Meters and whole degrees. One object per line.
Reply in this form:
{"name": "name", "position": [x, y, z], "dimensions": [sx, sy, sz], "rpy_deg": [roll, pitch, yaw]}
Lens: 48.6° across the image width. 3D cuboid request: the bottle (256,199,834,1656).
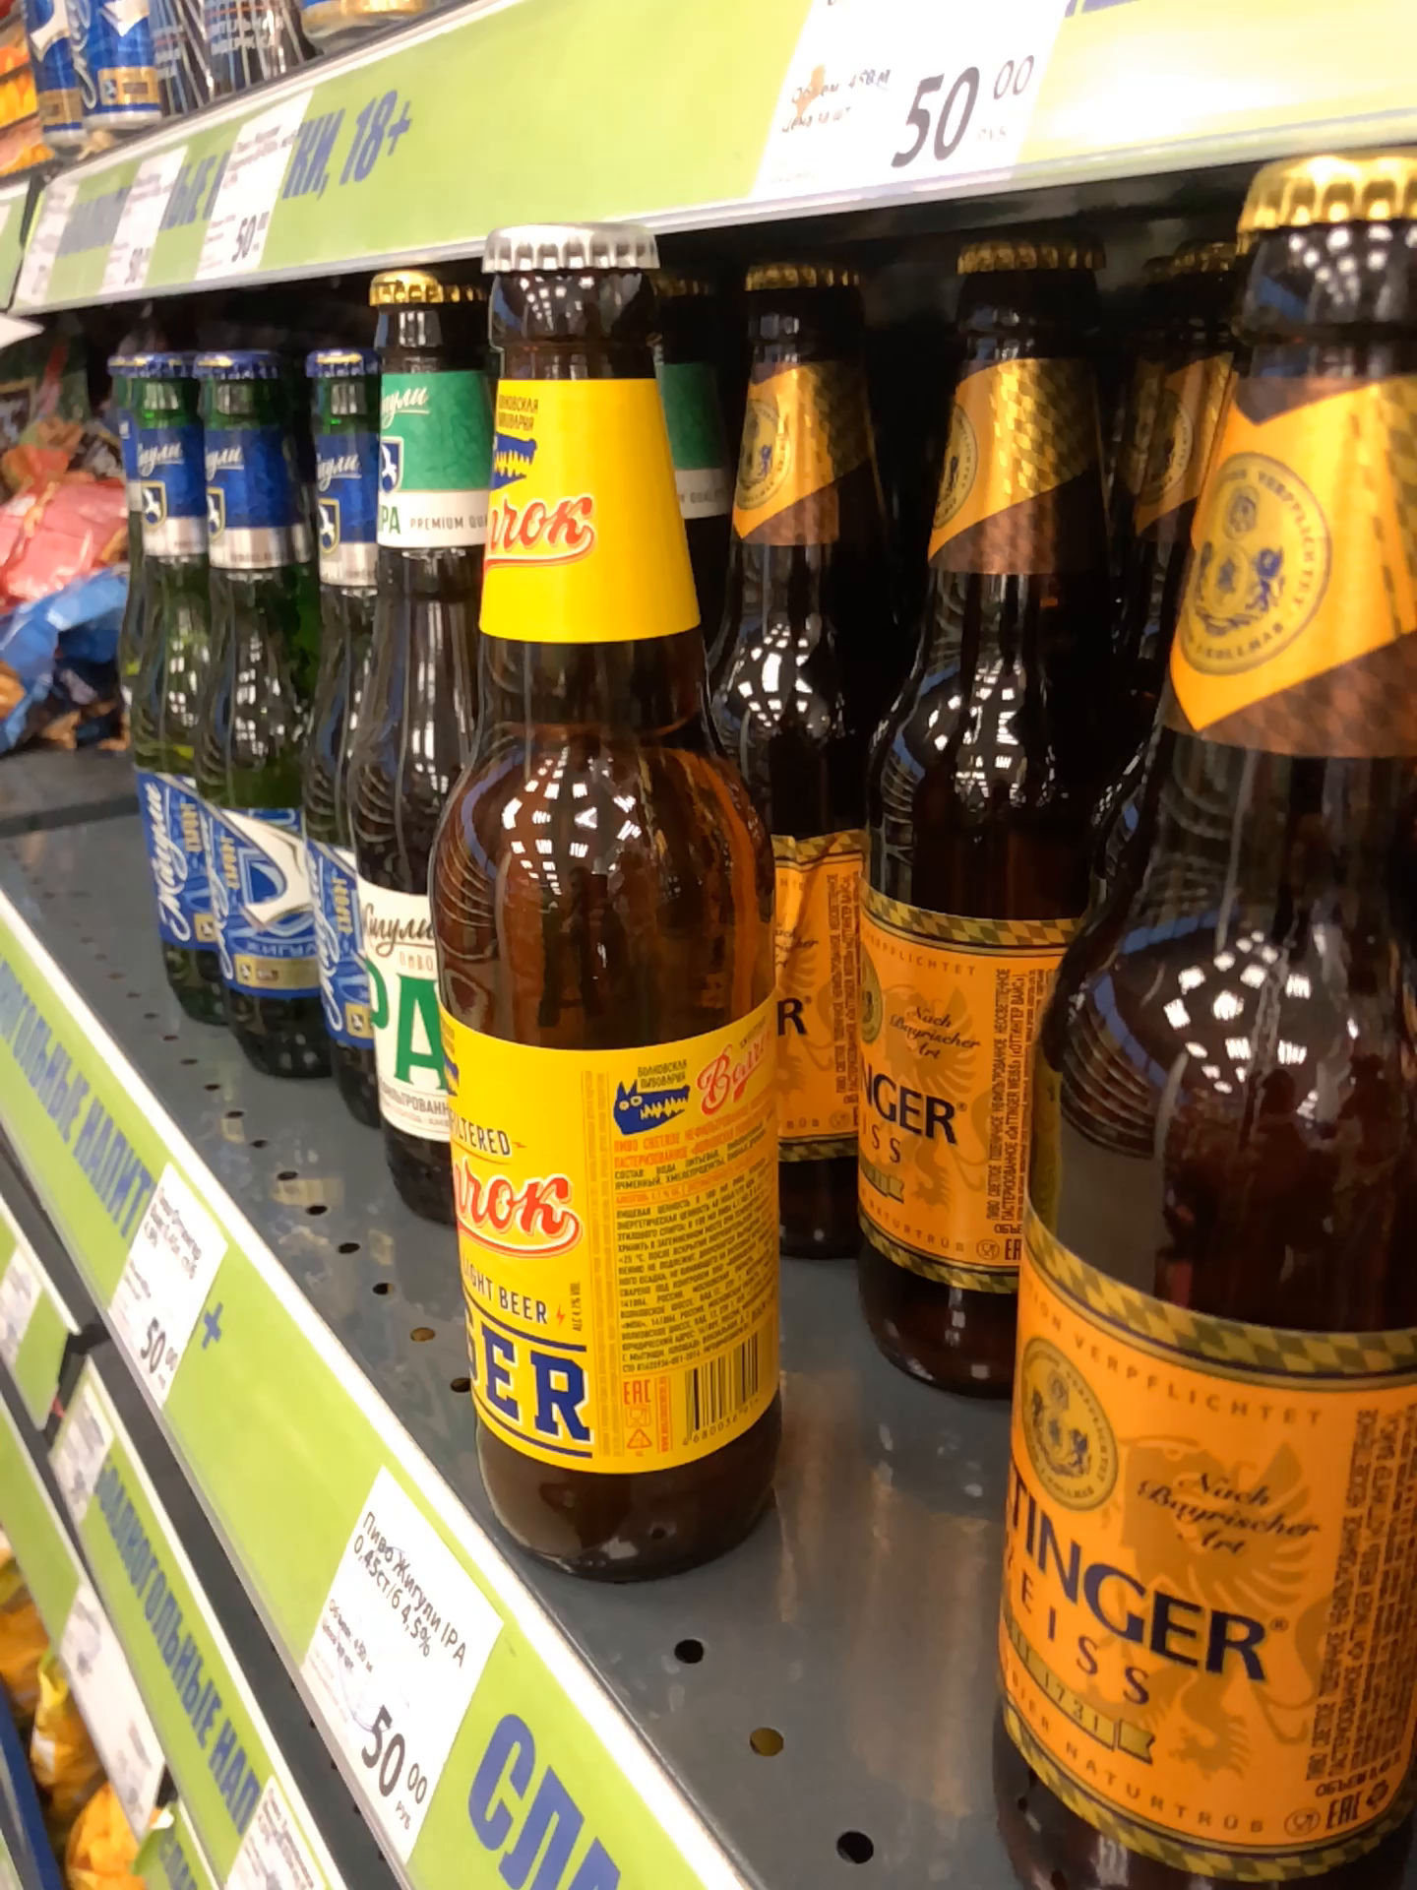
{"name": "bottle", "position": [-0.026, 0.001, 0.284], "dimensions": [0.070, 0.239, 0.070], "rpy_deg": [-3, 21, 1]}
